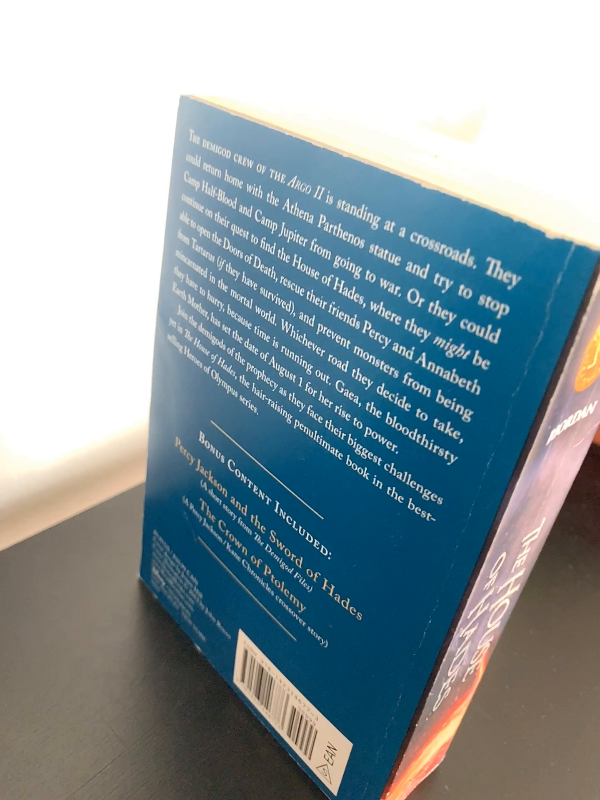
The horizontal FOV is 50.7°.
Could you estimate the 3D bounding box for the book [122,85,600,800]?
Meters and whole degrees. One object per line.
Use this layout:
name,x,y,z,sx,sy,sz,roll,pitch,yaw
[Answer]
book,0.017,0.012,0.198,0.078,0.176,0.145,-19,40,-40
